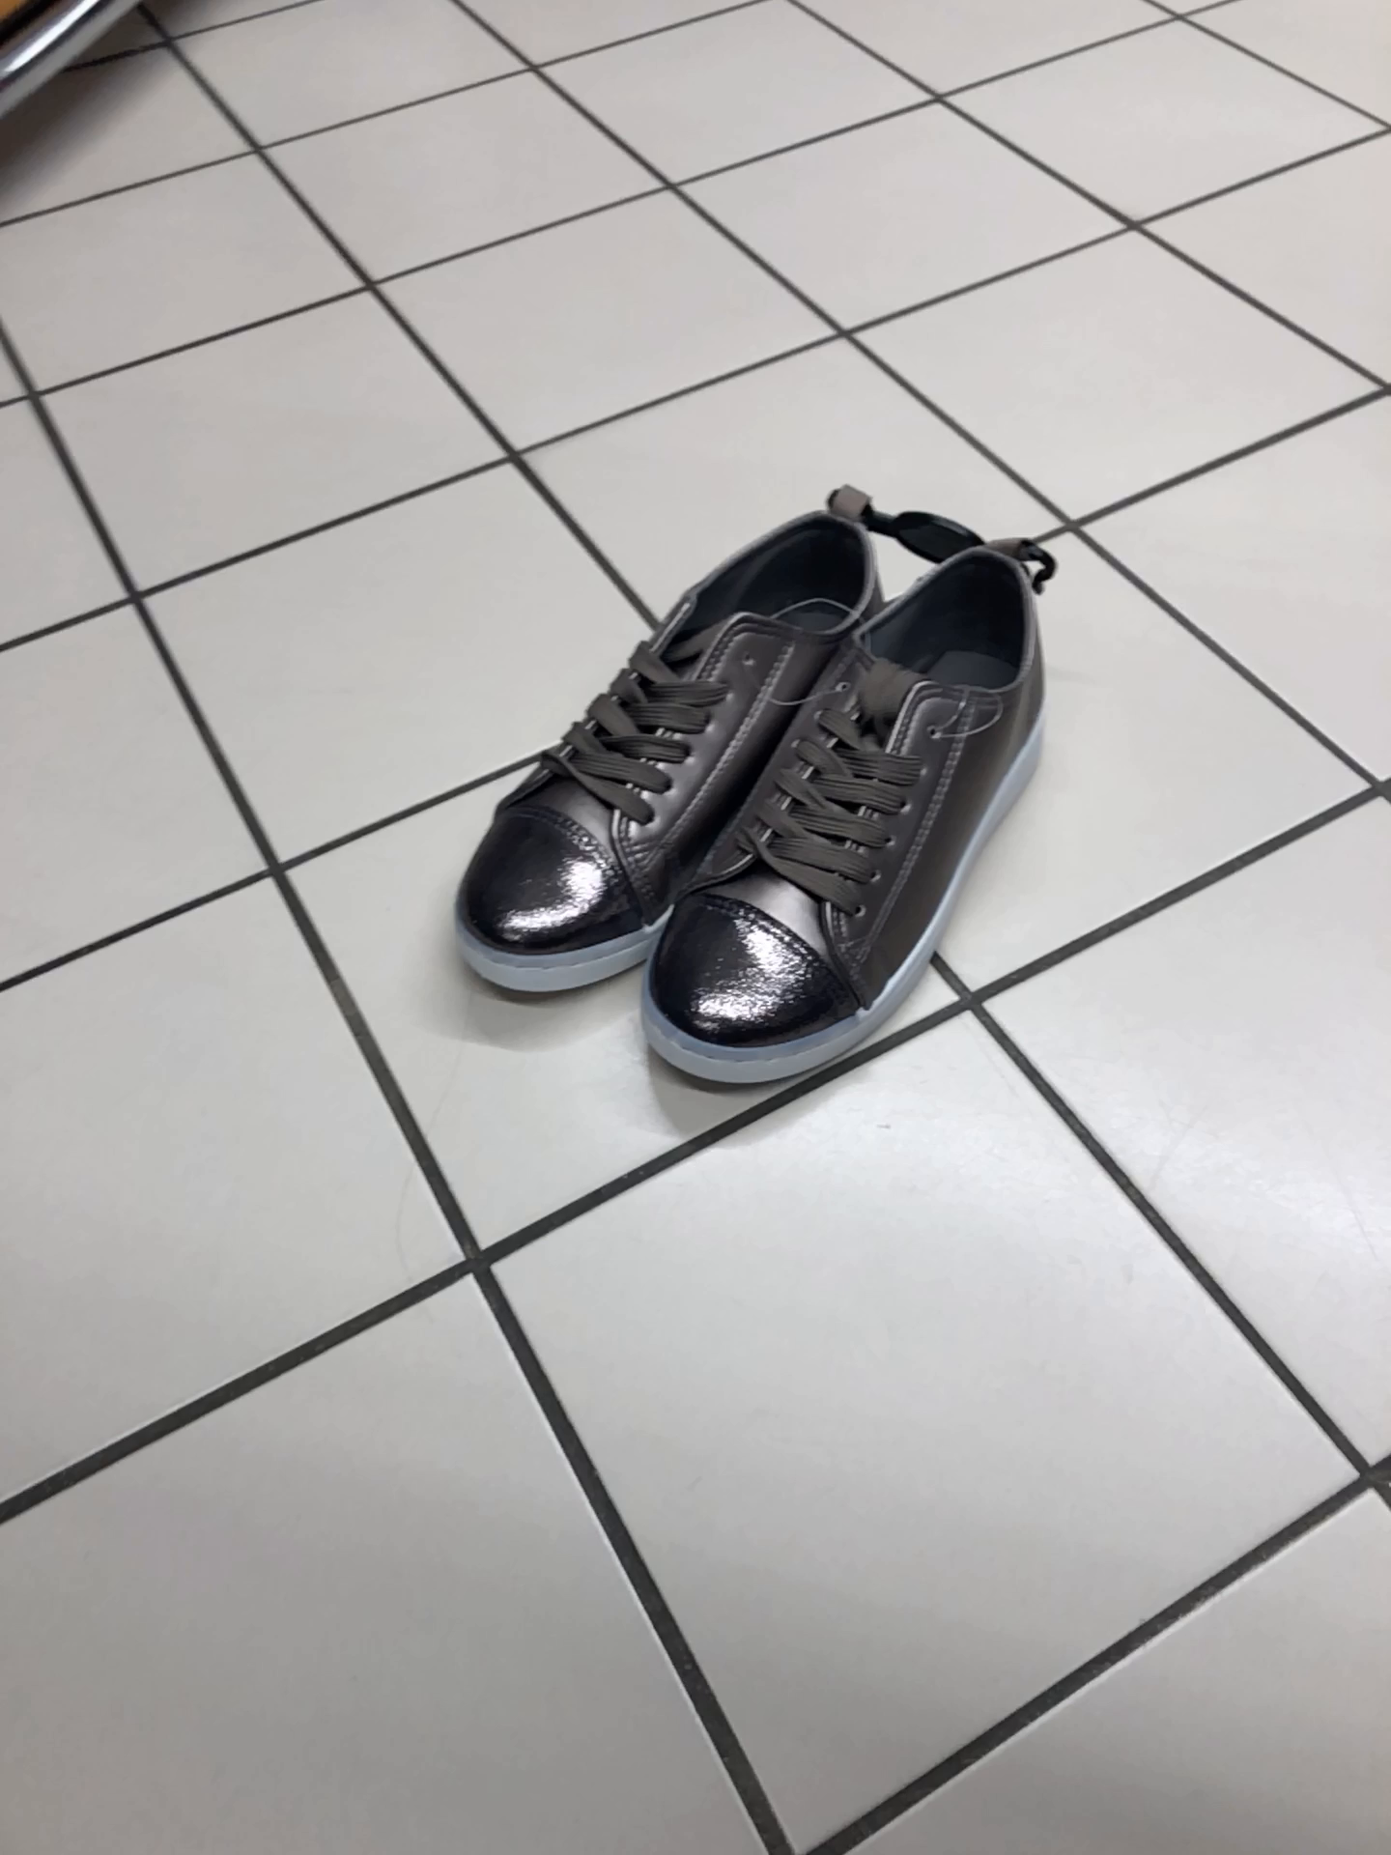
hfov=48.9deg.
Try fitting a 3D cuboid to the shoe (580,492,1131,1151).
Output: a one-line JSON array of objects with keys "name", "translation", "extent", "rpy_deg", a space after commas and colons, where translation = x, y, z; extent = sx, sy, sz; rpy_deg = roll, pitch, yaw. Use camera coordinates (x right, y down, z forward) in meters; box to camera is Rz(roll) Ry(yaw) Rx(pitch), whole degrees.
[{"name": "shoe", "translation": [0.066, -0.049, 0.564], "extent": [0.090, 0.080, 0.241], "rpy_deg": [24, 57, 21]}]

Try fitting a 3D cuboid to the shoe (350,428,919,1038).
[{"name": "shoe", "translation": [-0.012, -0.085, 0.594], "extent": [0.090, 0.080, 0.241], "rpy_deg": [26, 58, 22]}]
